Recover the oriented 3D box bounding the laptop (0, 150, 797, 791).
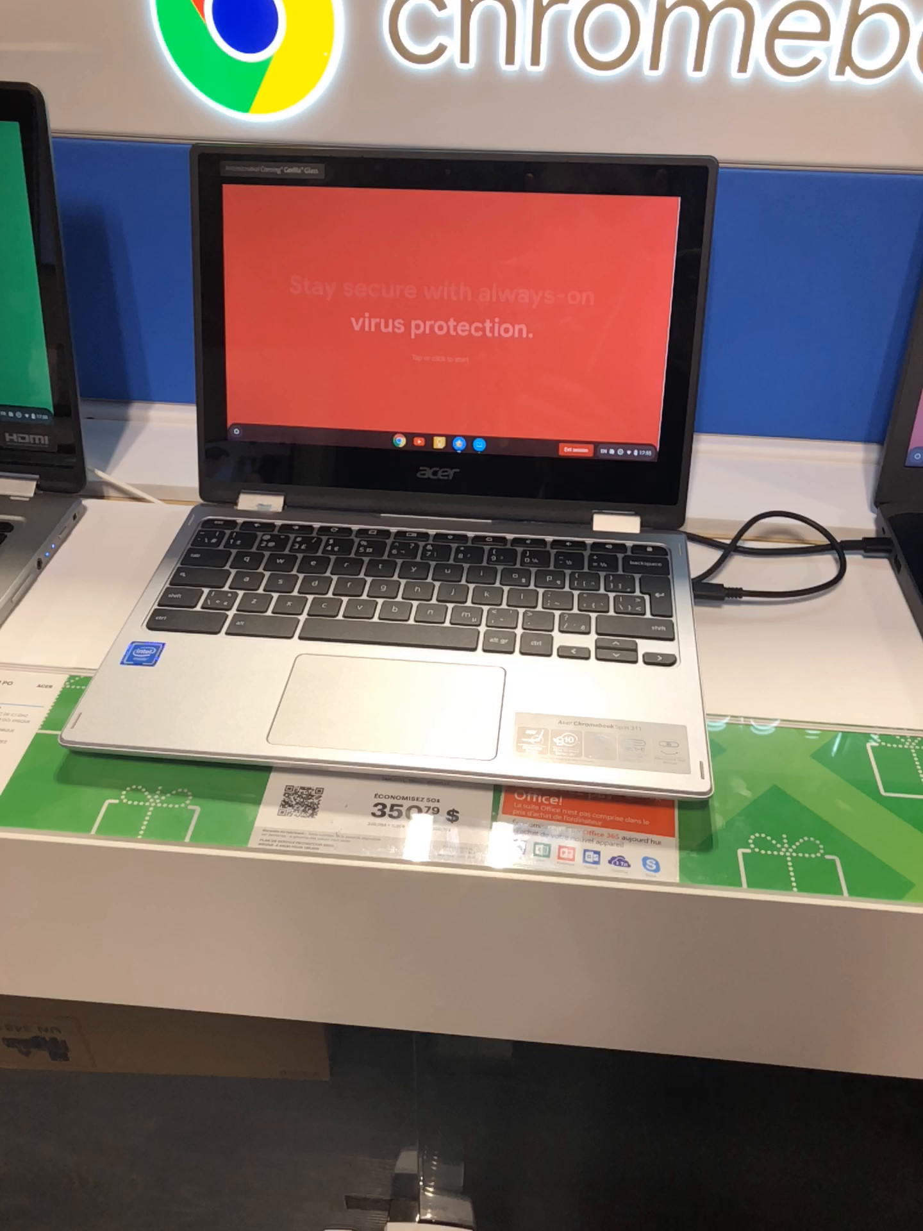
[{"bbox_3d":[-0.023,-0.090,0.496,0.284,0.181,0.274,4,39,4],"label":"laptop"}]
